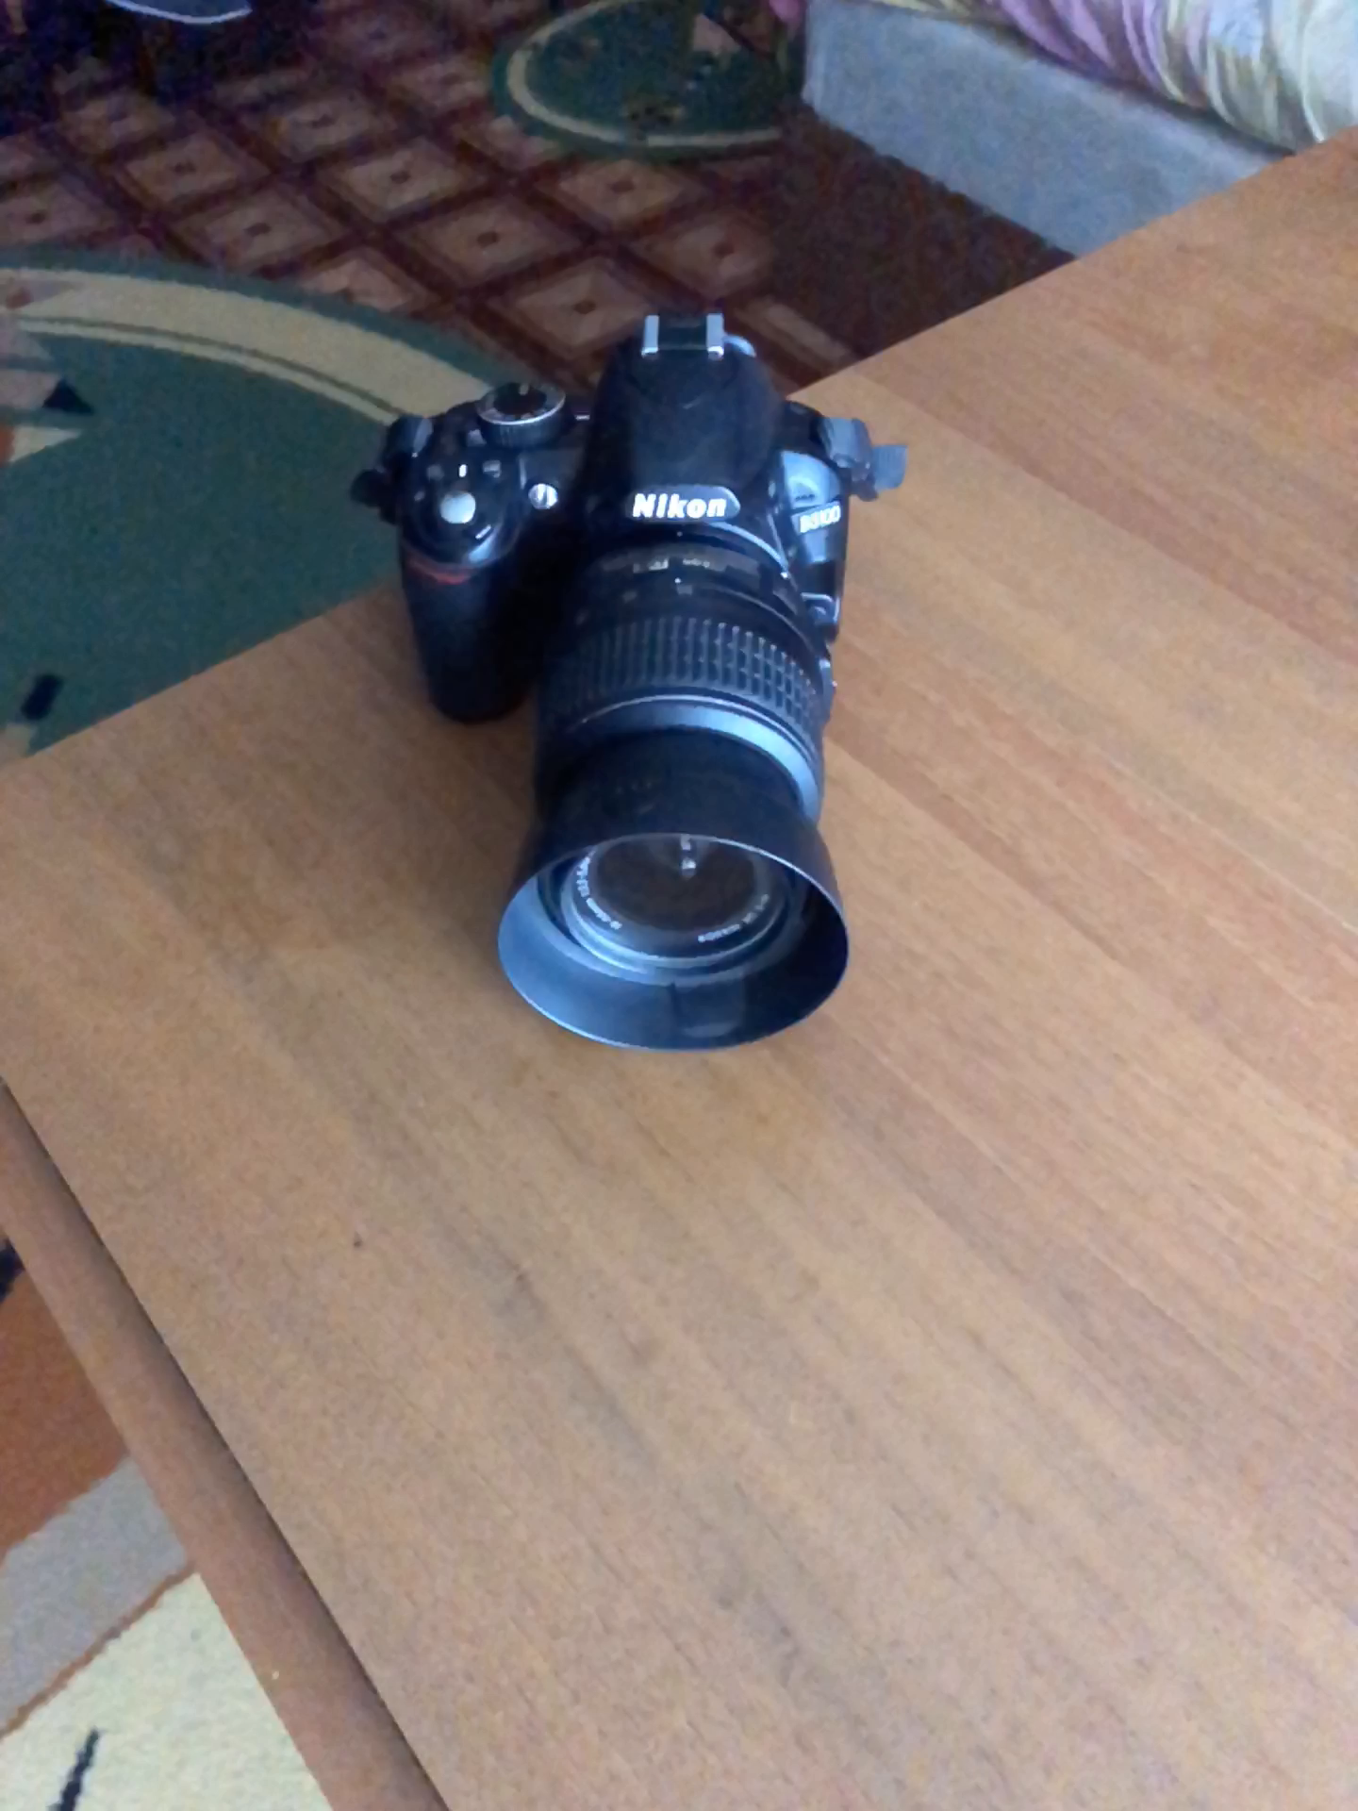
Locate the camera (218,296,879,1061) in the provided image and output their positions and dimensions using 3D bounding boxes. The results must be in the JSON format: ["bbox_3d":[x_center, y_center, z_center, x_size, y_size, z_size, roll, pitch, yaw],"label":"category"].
[{"bbox_3d":[-0.020,-0.065,0.386,0.129,0.092,0.184,2,50,3],"label":"camera"}]
